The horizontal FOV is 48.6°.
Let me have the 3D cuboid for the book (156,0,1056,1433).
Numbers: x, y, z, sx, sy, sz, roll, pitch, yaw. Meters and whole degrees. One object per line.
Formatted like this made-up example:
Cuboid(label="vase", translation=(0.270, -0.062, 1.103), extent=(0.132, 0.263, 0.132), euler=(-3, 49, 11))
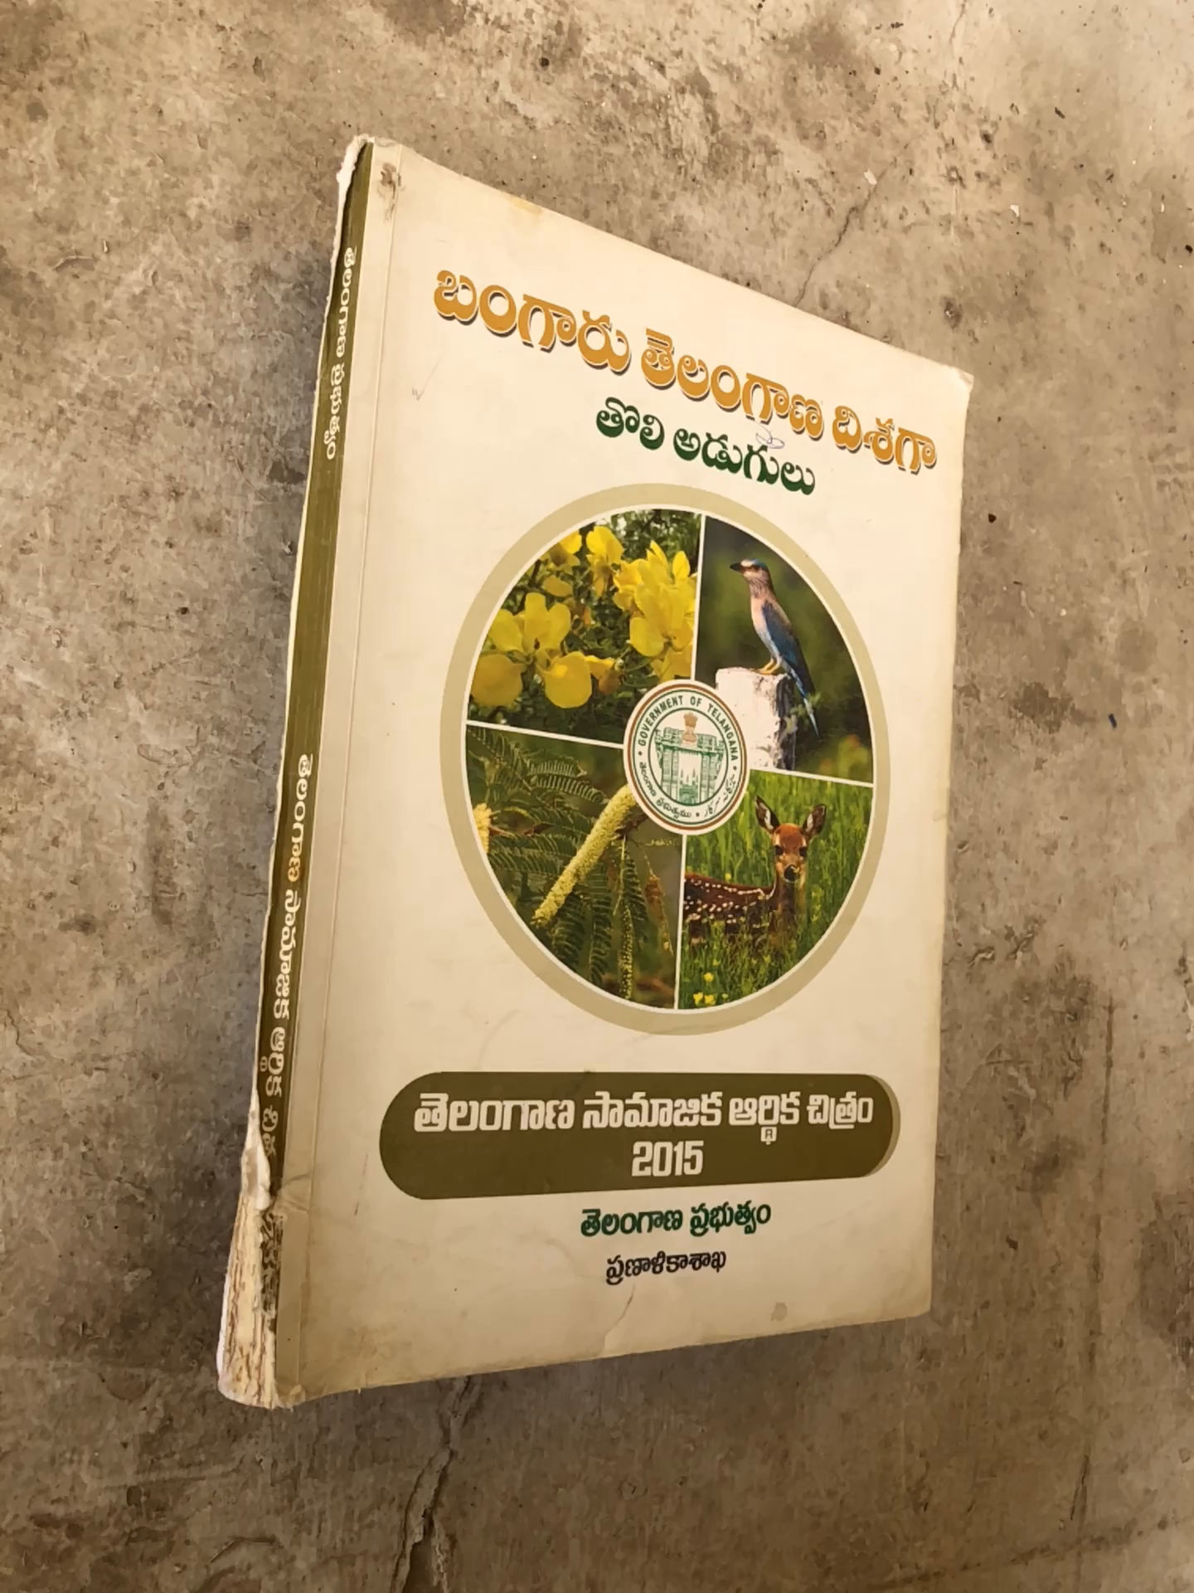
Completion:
Cuboid(label="book", translation=(0.018, -0.011, 0.346), extent=(0.221, 0.060, 0.290), euler=(7, 83, -31))
